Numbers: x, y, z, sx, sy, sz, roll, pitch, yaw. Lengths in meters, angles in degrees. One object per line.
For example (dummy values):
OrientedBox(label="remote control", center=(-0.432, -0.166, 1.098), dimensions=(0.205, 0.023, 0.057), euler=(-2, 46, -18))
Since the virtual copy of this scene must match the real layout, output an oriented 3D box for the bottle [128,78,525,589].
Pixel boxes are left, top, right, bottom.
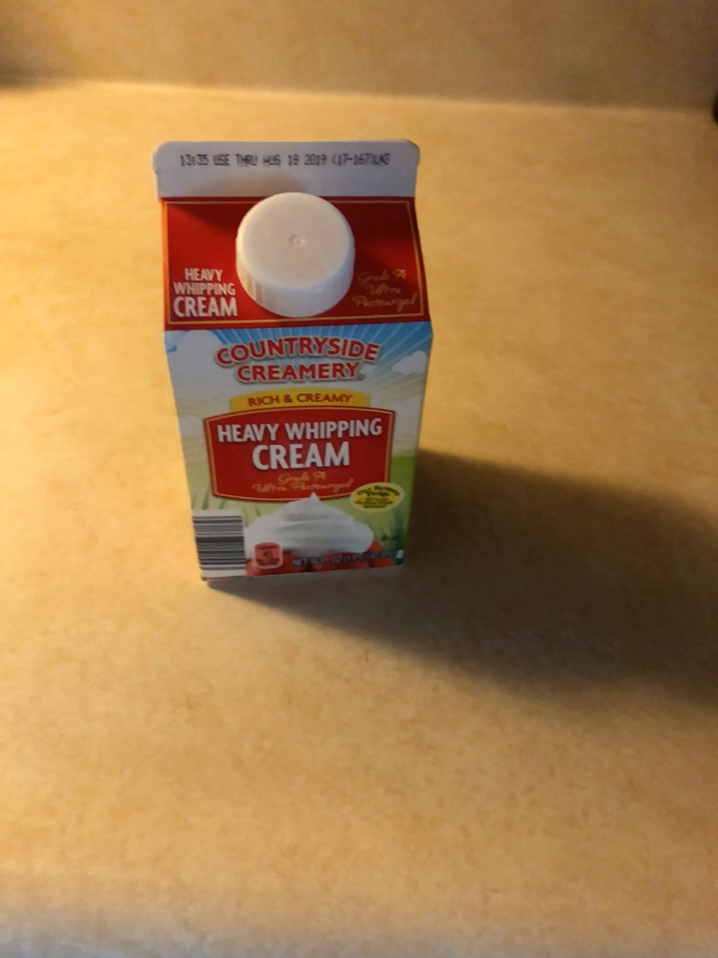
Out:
OrientedBox(label="bottle", center=(-0.014, -0.045, 0.259), dimensions=(0.090, 0.130, 0.090), euler=(2, 42, -1))
